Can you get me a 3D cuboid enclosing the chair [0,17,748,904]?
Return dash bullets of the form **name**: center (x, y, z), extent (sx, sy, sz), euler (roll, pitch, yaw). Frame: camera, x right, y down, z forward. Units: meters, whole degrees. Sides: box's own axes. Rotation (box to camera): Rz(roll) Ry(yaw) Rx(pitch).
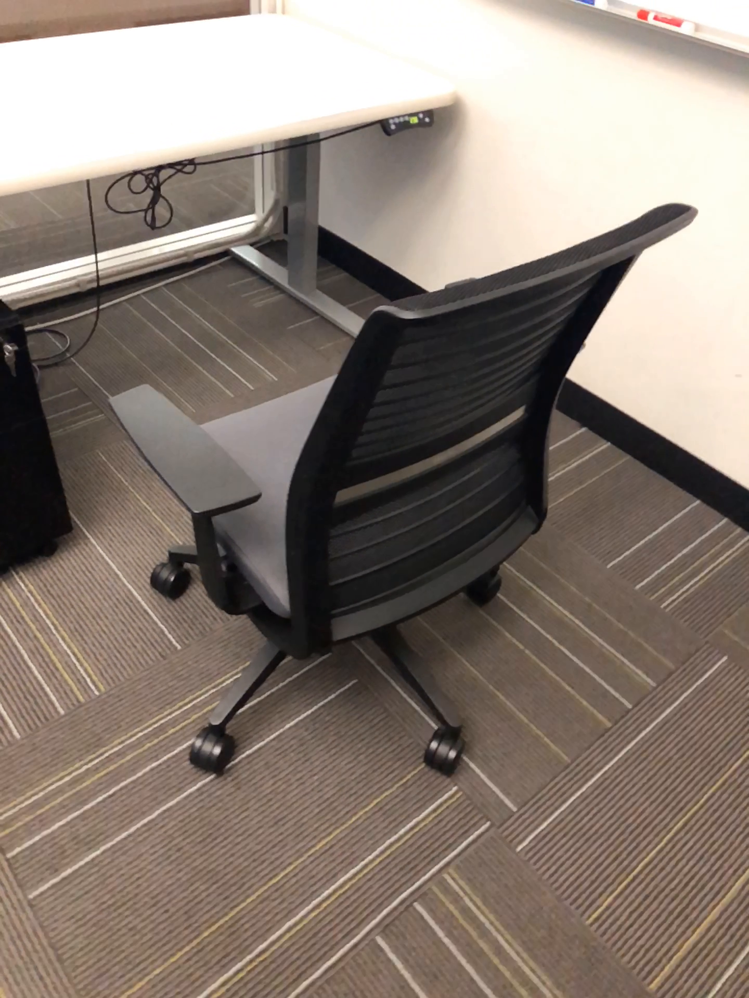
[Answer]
- **chair**: center (-0.043, -0.096, 1.233), extent (0.721, 0.906, 0.682), euler (-28, 52, -32)
